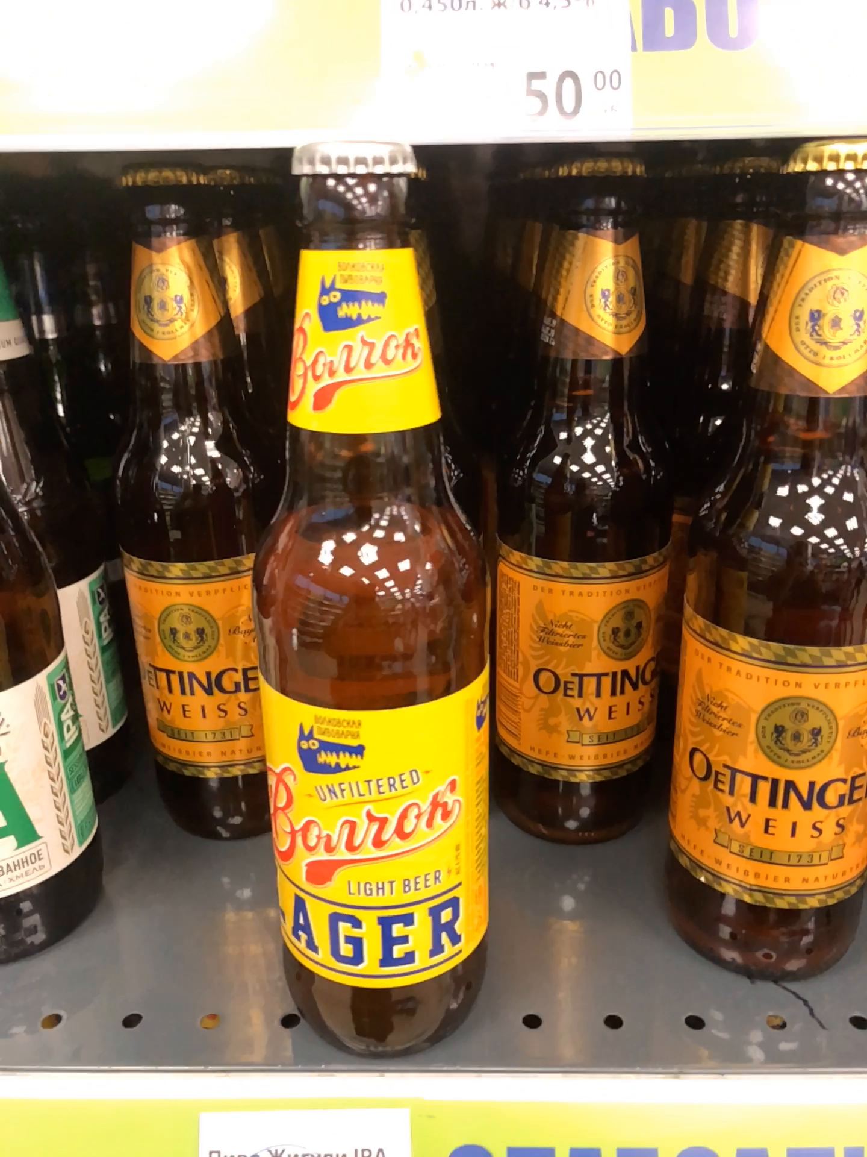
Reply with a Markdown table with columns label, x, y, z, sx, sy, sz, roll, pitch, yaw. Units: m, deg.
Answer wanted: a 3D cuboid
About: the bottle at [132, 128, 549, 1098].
| label | x | y | z | sx | sy | sz | roll | pitch | yaw |
| --- | --- | --- | --- | --- | --- | --- | --- | --- | --- |
| bottle | -0.013 | 0.014 | 0.255 | 0.070 | 0.239 | 0.070 | -1 | 23 | 0 |
